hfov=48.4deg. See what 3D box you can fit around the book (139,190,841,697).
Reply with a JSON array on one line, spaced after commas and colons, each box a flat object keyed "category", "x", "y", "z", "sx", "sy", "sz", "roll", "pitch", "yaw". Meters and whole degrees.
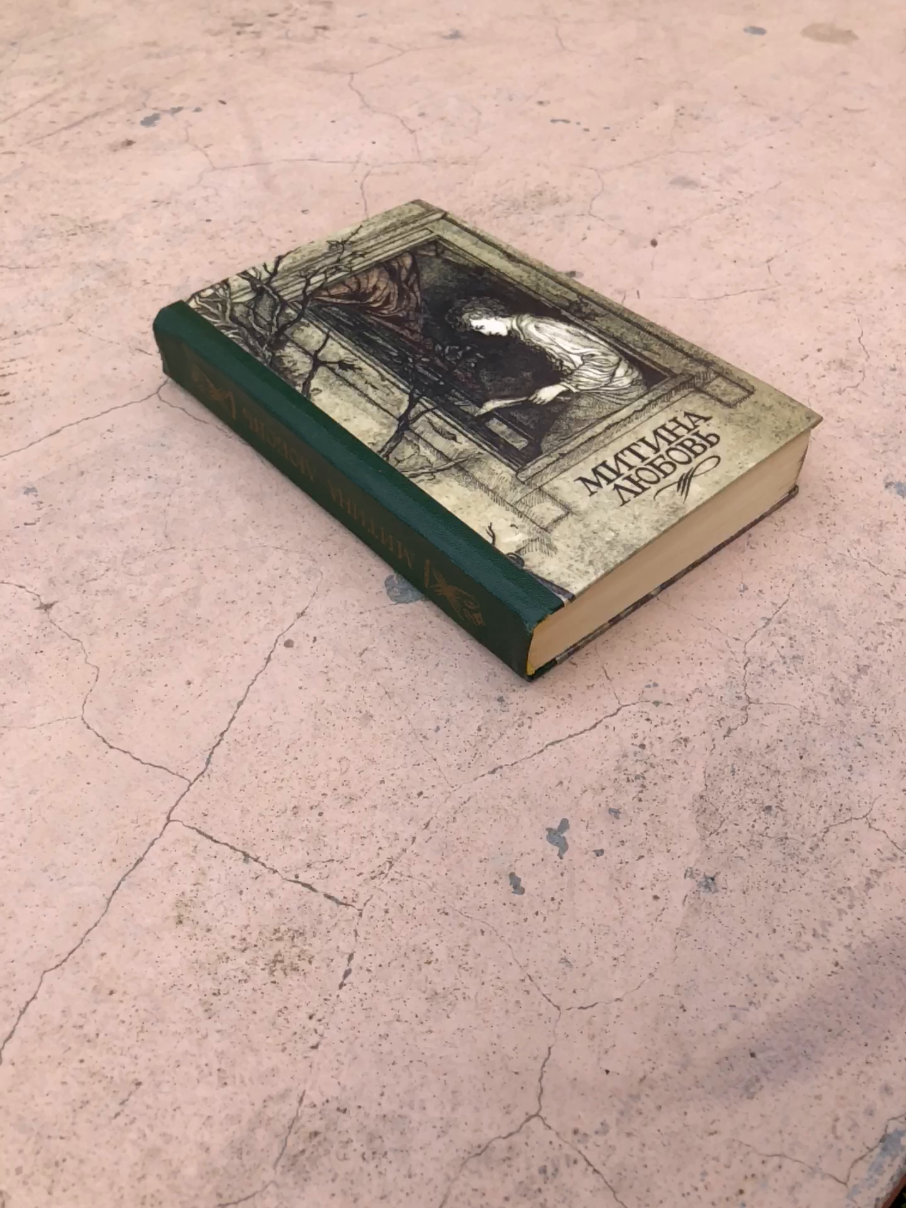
[{"category": "book", "x": 0.005, "y": -0.076, "z": 0.363, "sx": 0.135, "sy": 0.035, "sz": 0.213, "roll": -33, "pitch": 55, "yaw": -27}]
